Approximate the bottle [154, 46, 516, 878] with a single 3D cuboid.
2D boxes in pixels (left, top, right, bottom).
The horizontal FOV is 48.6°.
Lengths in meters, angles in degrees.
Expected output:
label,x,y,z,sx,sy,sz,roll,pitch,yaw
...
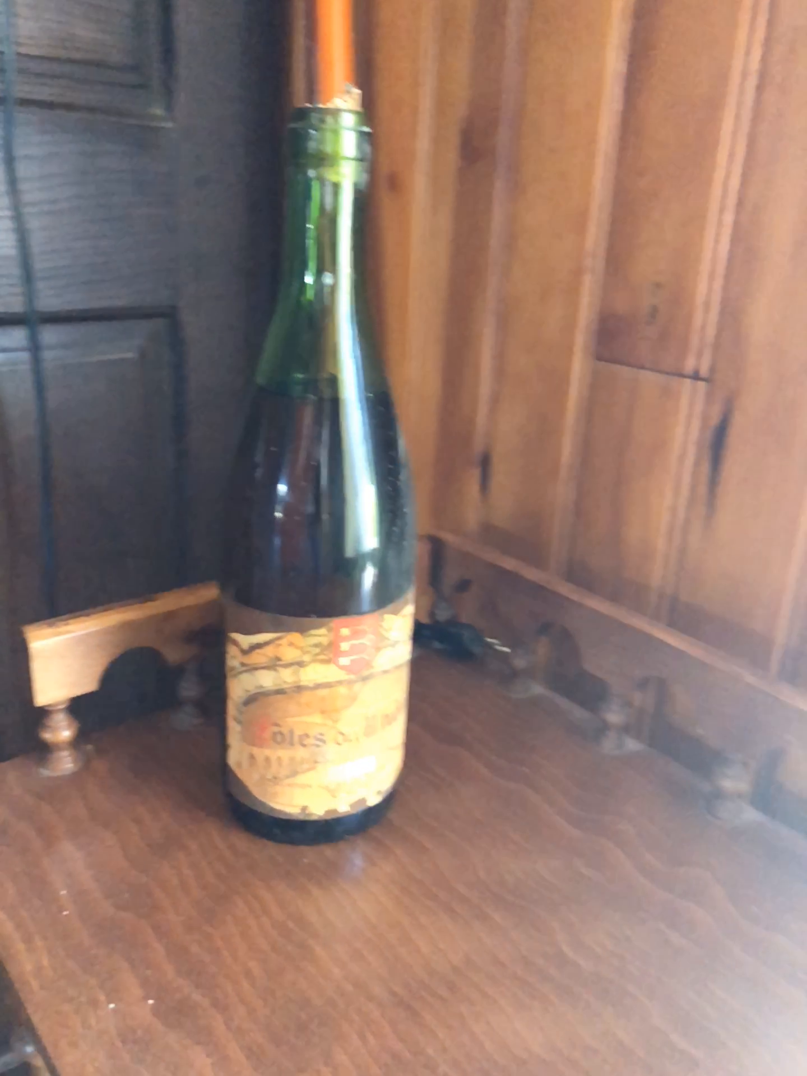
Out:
label,x,y,z,sx,sy,sz,roll,pitch,yaw
bottle,-0.032,-0.023,0.347,0.090,0.279,0.090,3,21,-1
